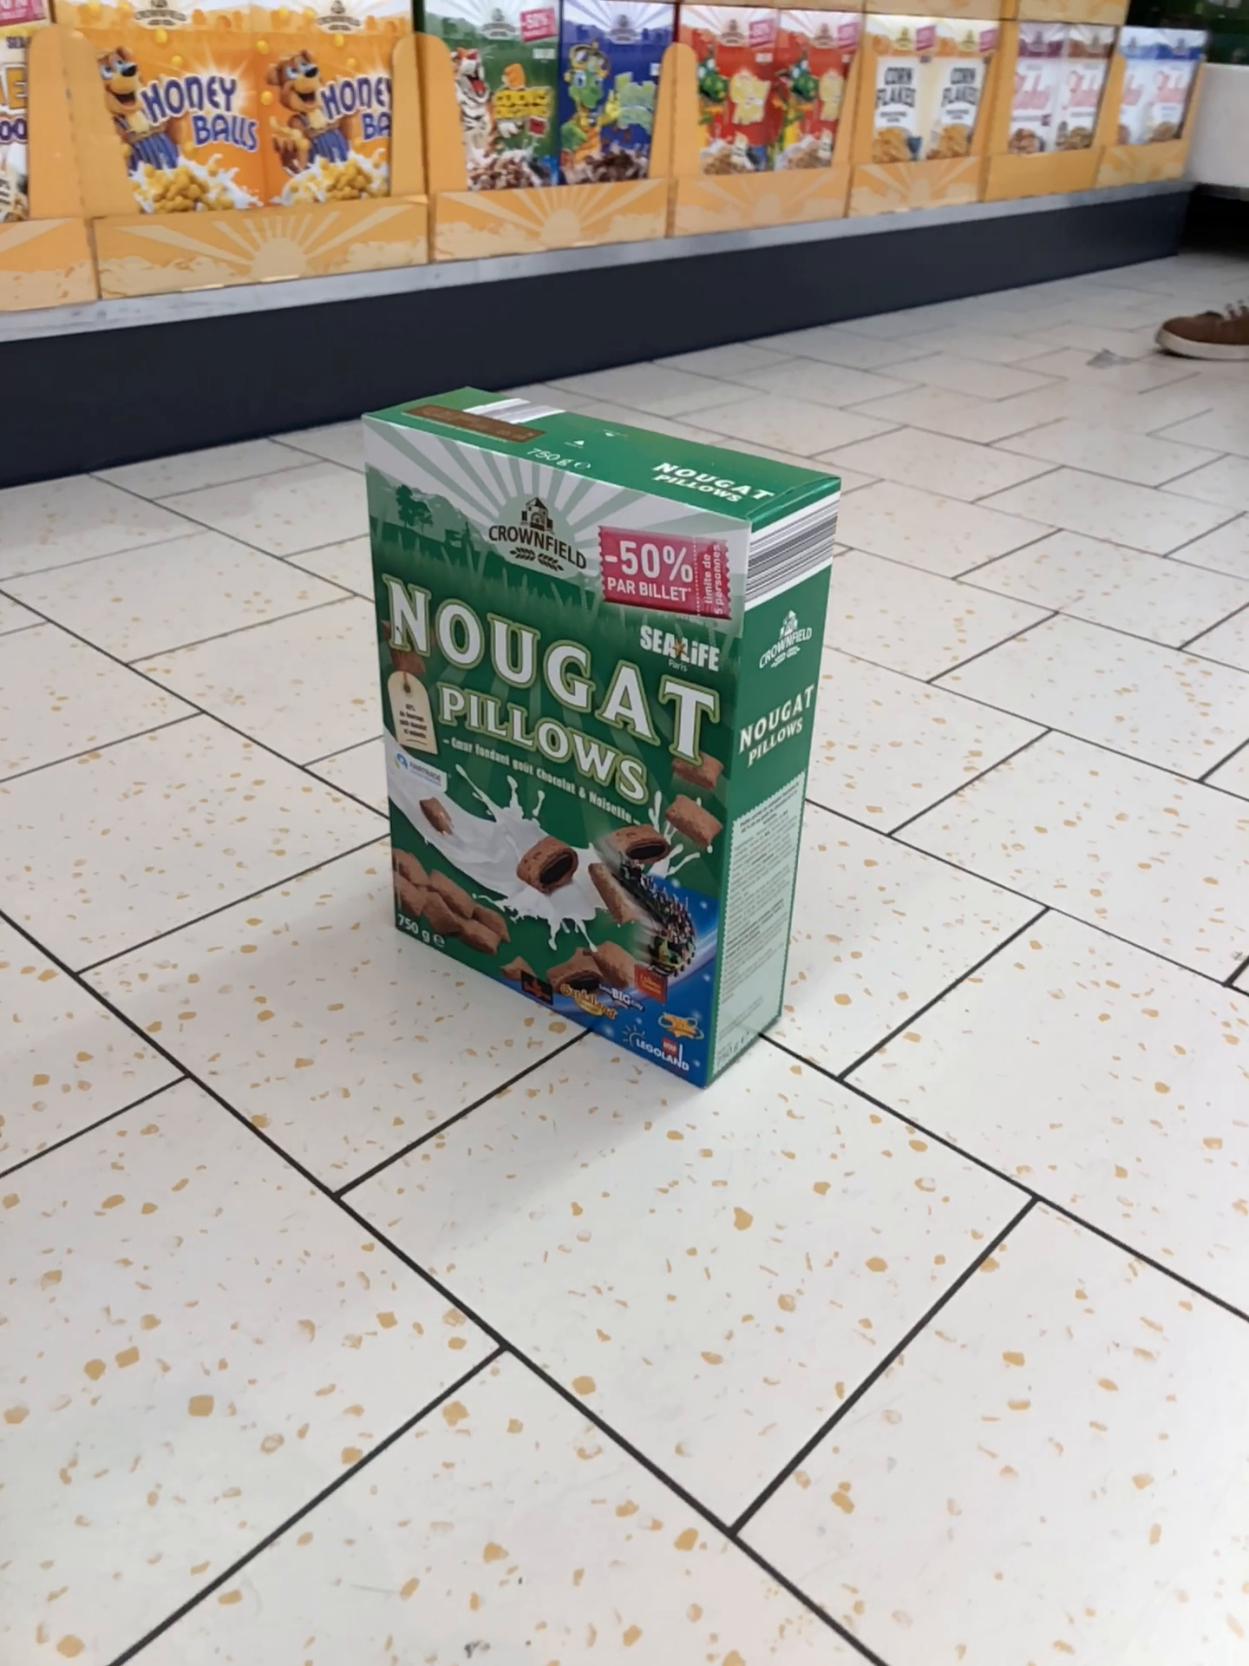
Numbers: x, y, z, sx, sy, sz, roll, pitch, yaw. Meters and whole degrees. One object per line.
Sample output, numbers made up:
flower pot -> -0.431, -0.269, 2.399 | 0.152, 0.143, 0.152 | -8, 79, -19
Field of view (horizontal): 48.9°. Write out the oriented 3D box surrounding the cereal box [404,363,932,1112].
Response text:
cereal box -> 0.006, -0.044, 0.596 | 0.200, 0.268, 0.070 | 22, 35, 30
